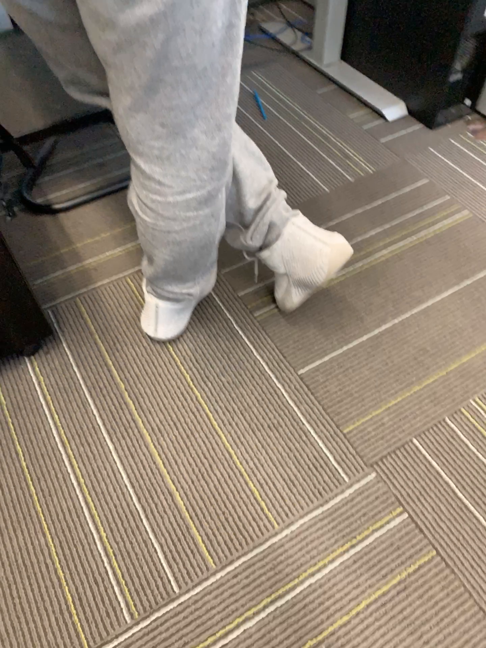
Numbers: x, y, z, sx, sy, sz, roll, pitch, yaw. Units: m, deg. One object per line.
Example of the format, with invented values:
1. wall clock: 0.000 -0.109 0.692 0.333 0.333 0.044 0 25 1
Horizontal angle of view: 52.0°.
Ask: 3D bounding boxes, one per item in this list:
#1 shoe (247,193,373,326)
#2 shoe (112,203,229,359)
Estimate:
1. shoe: 0.109 -0.105 0.933 0.120 0.280 0.120 39 77 1
2. shoe: -0.139 -0.096 1.059 0.130 0.149 0.281 14 55 11
